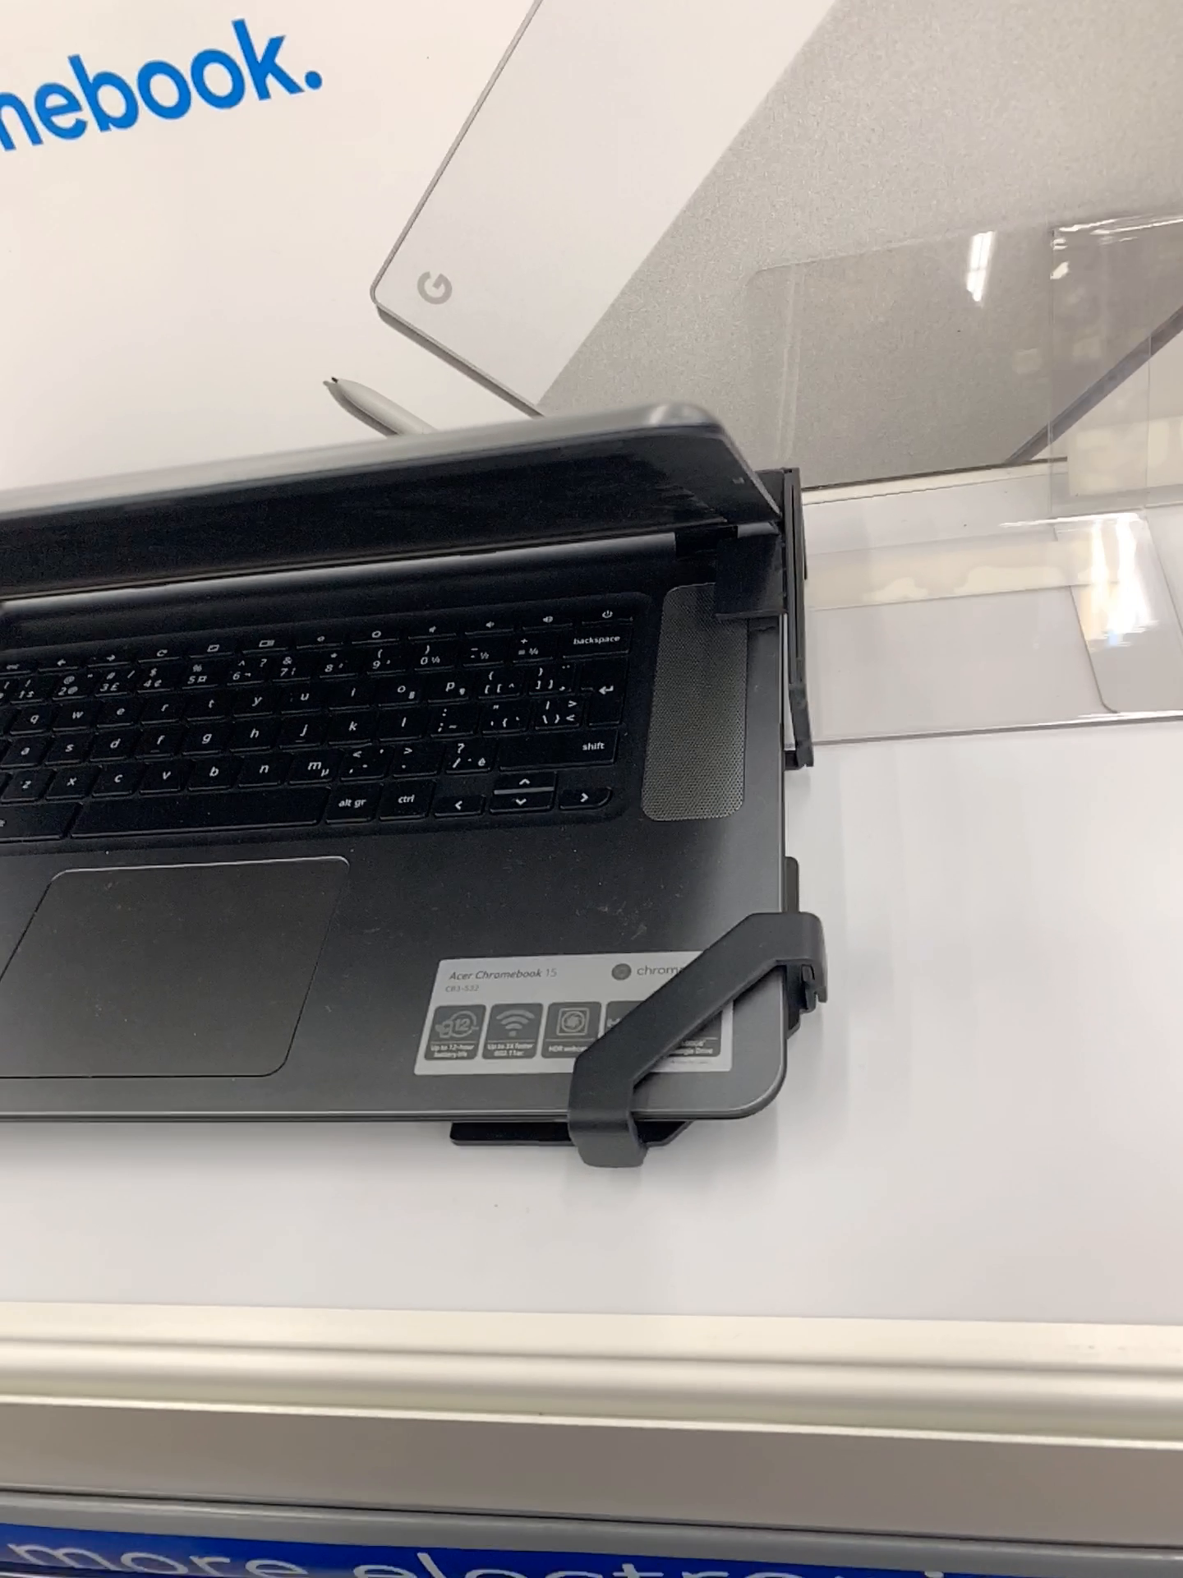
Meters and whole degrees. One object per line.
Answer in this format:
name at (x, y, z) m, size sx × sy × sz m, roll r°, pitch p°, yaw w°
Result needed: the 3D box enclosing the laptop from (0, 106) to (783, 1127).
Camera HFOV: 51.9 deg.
laptop at (-0.113, -0.039, 0.292) m, size 0.303 × 0.119 × 0.198 m, roll -3°, pitch 45°, yaw 13°
